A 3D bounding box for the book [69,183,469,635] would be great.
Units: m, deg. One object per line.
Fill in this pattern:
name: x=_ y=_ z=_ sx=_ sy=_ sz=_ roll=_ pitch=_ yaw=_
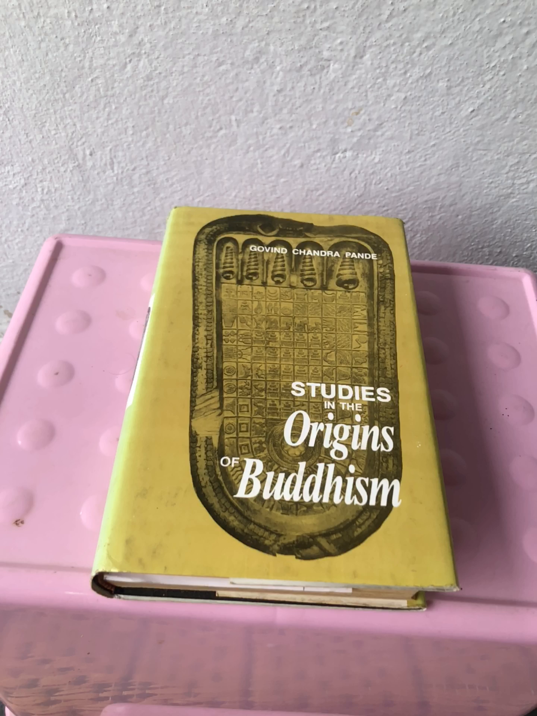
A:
book: x=0.005 y=0.006 z=0.312 sx=0.150 sy=0.040 sz=0.241 roll=4 pitch=53 yaw=-2
